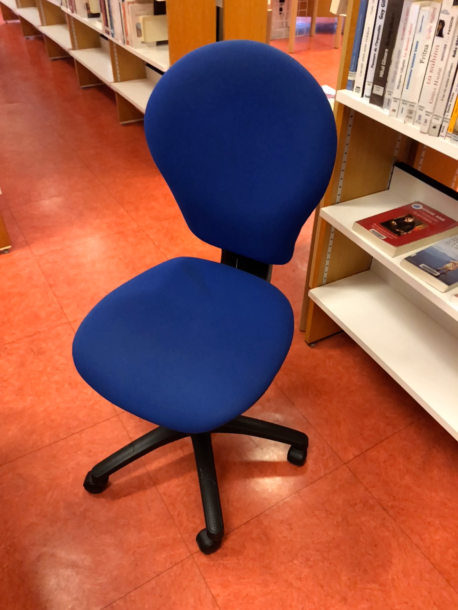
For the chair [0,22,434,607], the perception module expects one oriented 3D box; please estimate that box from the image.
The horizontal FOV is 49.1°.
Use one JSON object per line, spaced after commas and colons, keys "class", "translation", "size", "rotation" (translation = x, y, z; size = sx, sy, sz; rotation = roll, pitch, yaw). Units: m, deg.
{"class": "chair", "translation": [-0.106, -0.008, 1.097], "size": [0.660, 0.914, 0.624], "rotation": [26, 46, 27]}
